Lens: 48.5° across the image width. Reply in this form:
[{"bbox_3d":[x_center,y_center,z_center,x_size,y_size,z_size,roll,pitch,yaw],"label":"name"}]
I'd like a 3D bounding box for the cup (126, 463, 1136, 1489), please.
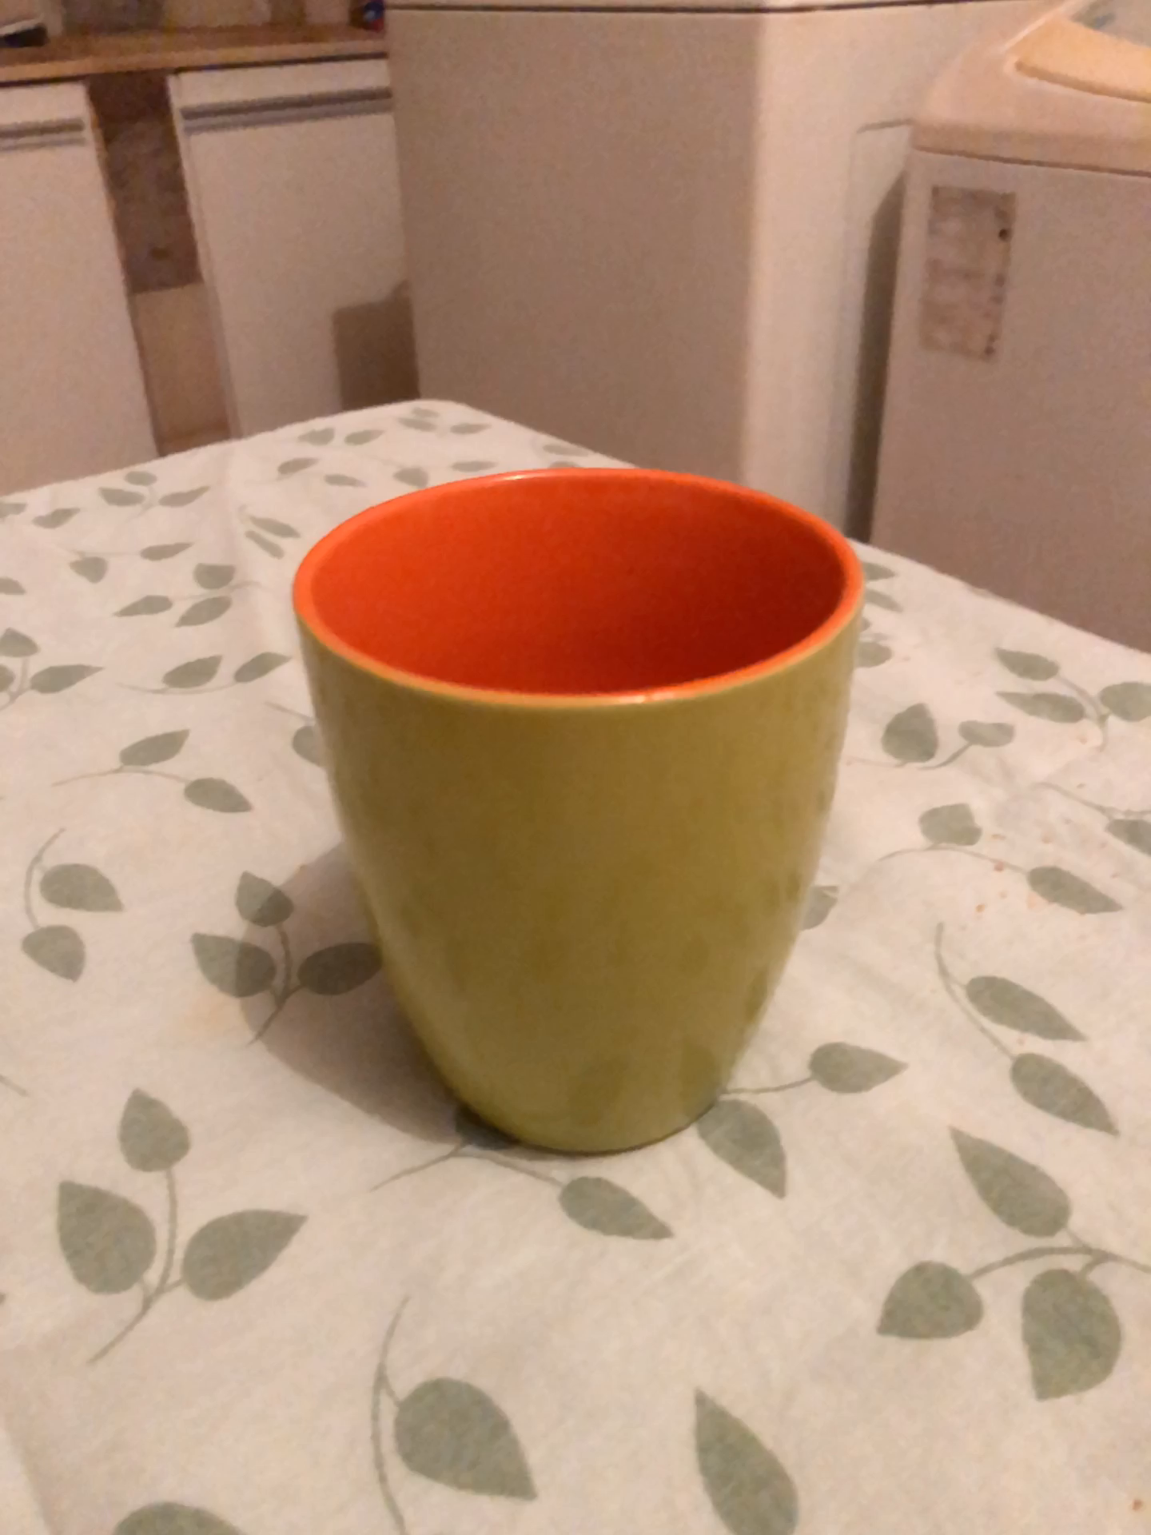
[{"bbox_3d":[0.005,0.020,0.189,0.090,0.089,0.121,-1,33,0],"label":"cup"}]
